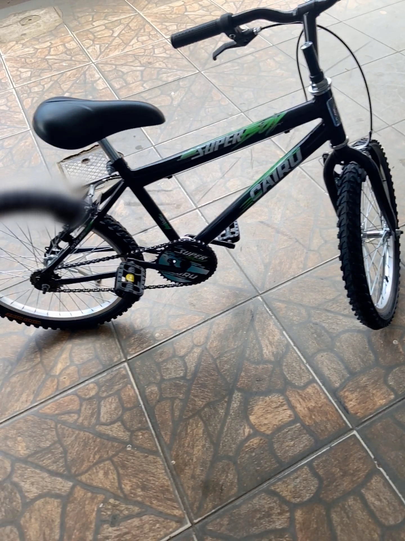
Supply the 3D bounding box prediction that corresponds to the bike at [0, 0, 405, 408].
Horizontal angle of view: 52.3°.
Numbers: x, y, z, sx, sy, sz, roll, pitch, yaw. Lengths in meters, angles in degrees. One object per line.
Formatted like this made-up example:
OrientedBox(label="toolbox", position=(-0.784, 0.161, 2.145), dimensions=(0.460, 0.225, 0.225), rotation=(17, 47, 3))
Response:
OrientedBox(label="bike", position=(-0.079, -0.248, 1.041), dimensions=(1.270, 0.935, 0.601), rotation=(-12, 55, -5))
